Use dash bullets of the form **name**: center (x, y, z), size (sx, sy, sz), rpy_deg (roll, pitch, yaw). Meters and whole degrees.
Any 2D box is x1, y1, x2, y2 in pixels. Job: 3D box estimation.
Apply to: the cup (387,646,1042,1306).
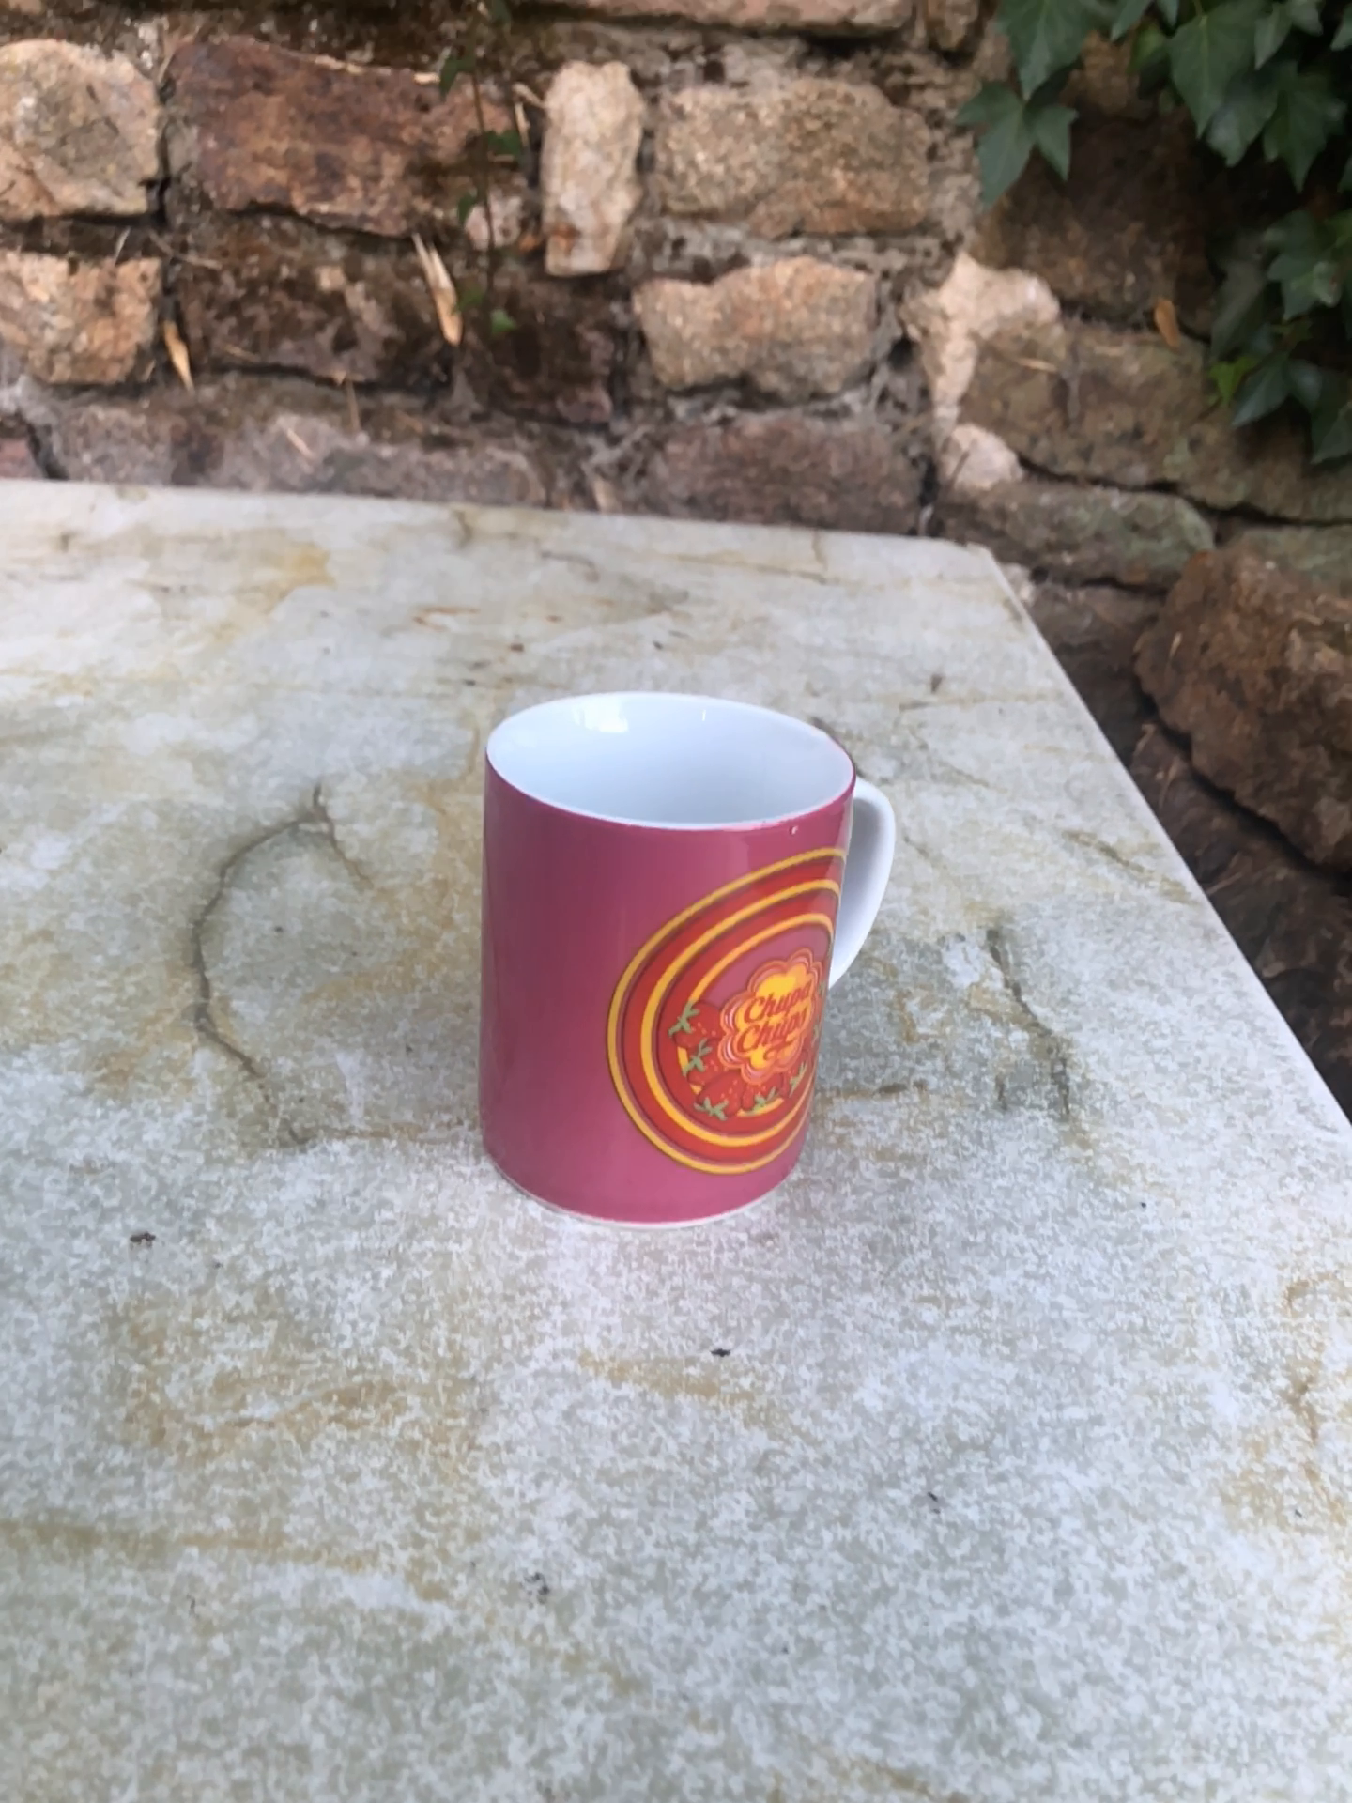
- **cup**: center (0.009, 0.007, 0.328), size (0.116, 0.089, 0.076), rpy_deg (-22, 37, -40)
